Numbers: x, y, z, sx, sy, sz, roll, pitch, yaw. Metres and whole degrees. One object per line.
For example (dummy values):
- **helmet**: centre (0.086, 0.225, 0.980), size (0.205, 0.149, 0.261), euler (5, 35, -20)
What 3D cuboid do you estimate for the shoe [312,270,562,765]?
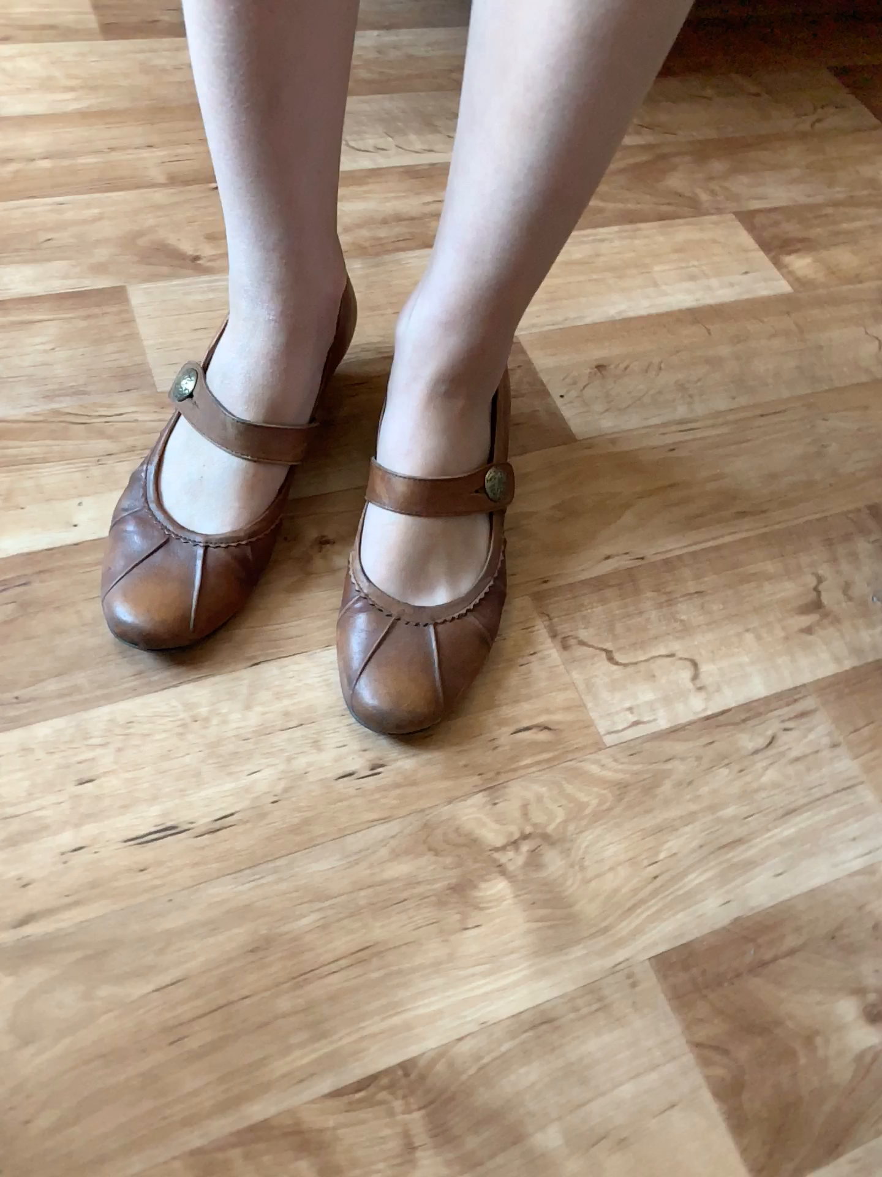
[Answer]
- **shoe**: centre (0.003, -0.046, 0.487), size (0.090, 0.090, 0.251), euler (11, 57, -3)

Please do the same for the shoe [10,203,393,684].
- **shoe**: centre (-0.113, -0.088, 0.492), size (0.090, 0.090, 0.251), euler (19, 56, 2)
